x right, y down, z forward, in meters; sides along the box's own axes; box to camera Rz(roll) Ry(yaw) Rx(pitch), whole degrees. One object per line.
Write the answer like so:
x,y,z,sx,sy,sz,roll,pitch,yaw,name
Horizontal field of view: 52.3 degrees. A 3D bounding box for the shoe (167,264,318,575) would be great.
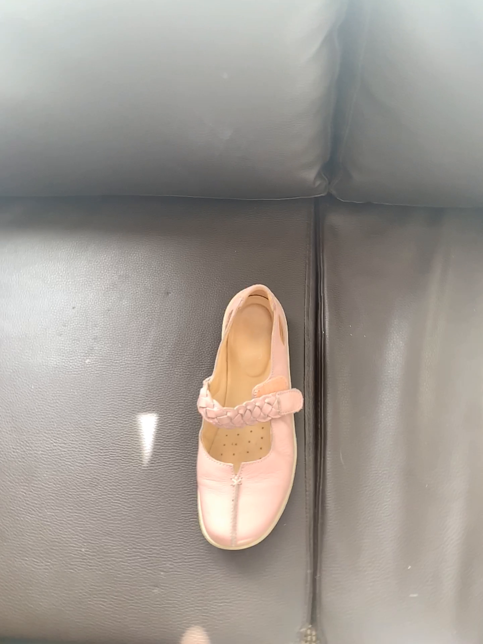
0.008,0.087,0.482,0.104,0.100,0.261,6,73,4,shoe
